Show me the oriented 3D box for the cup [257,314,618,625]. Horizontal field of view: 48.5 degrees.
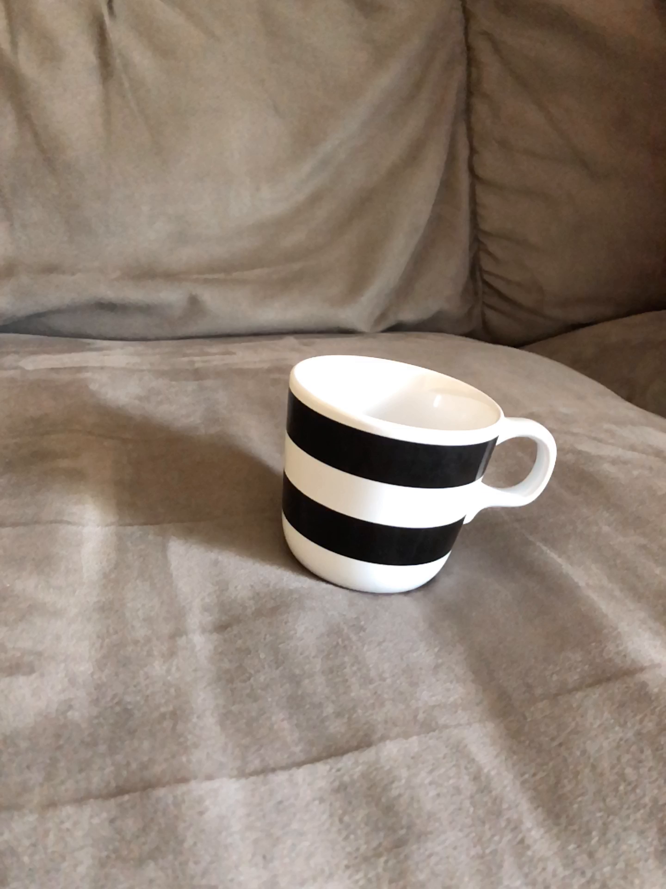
[{"bbox_3d":[0.033,0.007,0.294,0.110,0.080,0.080,9,24,-6],"label":"cup"}]
